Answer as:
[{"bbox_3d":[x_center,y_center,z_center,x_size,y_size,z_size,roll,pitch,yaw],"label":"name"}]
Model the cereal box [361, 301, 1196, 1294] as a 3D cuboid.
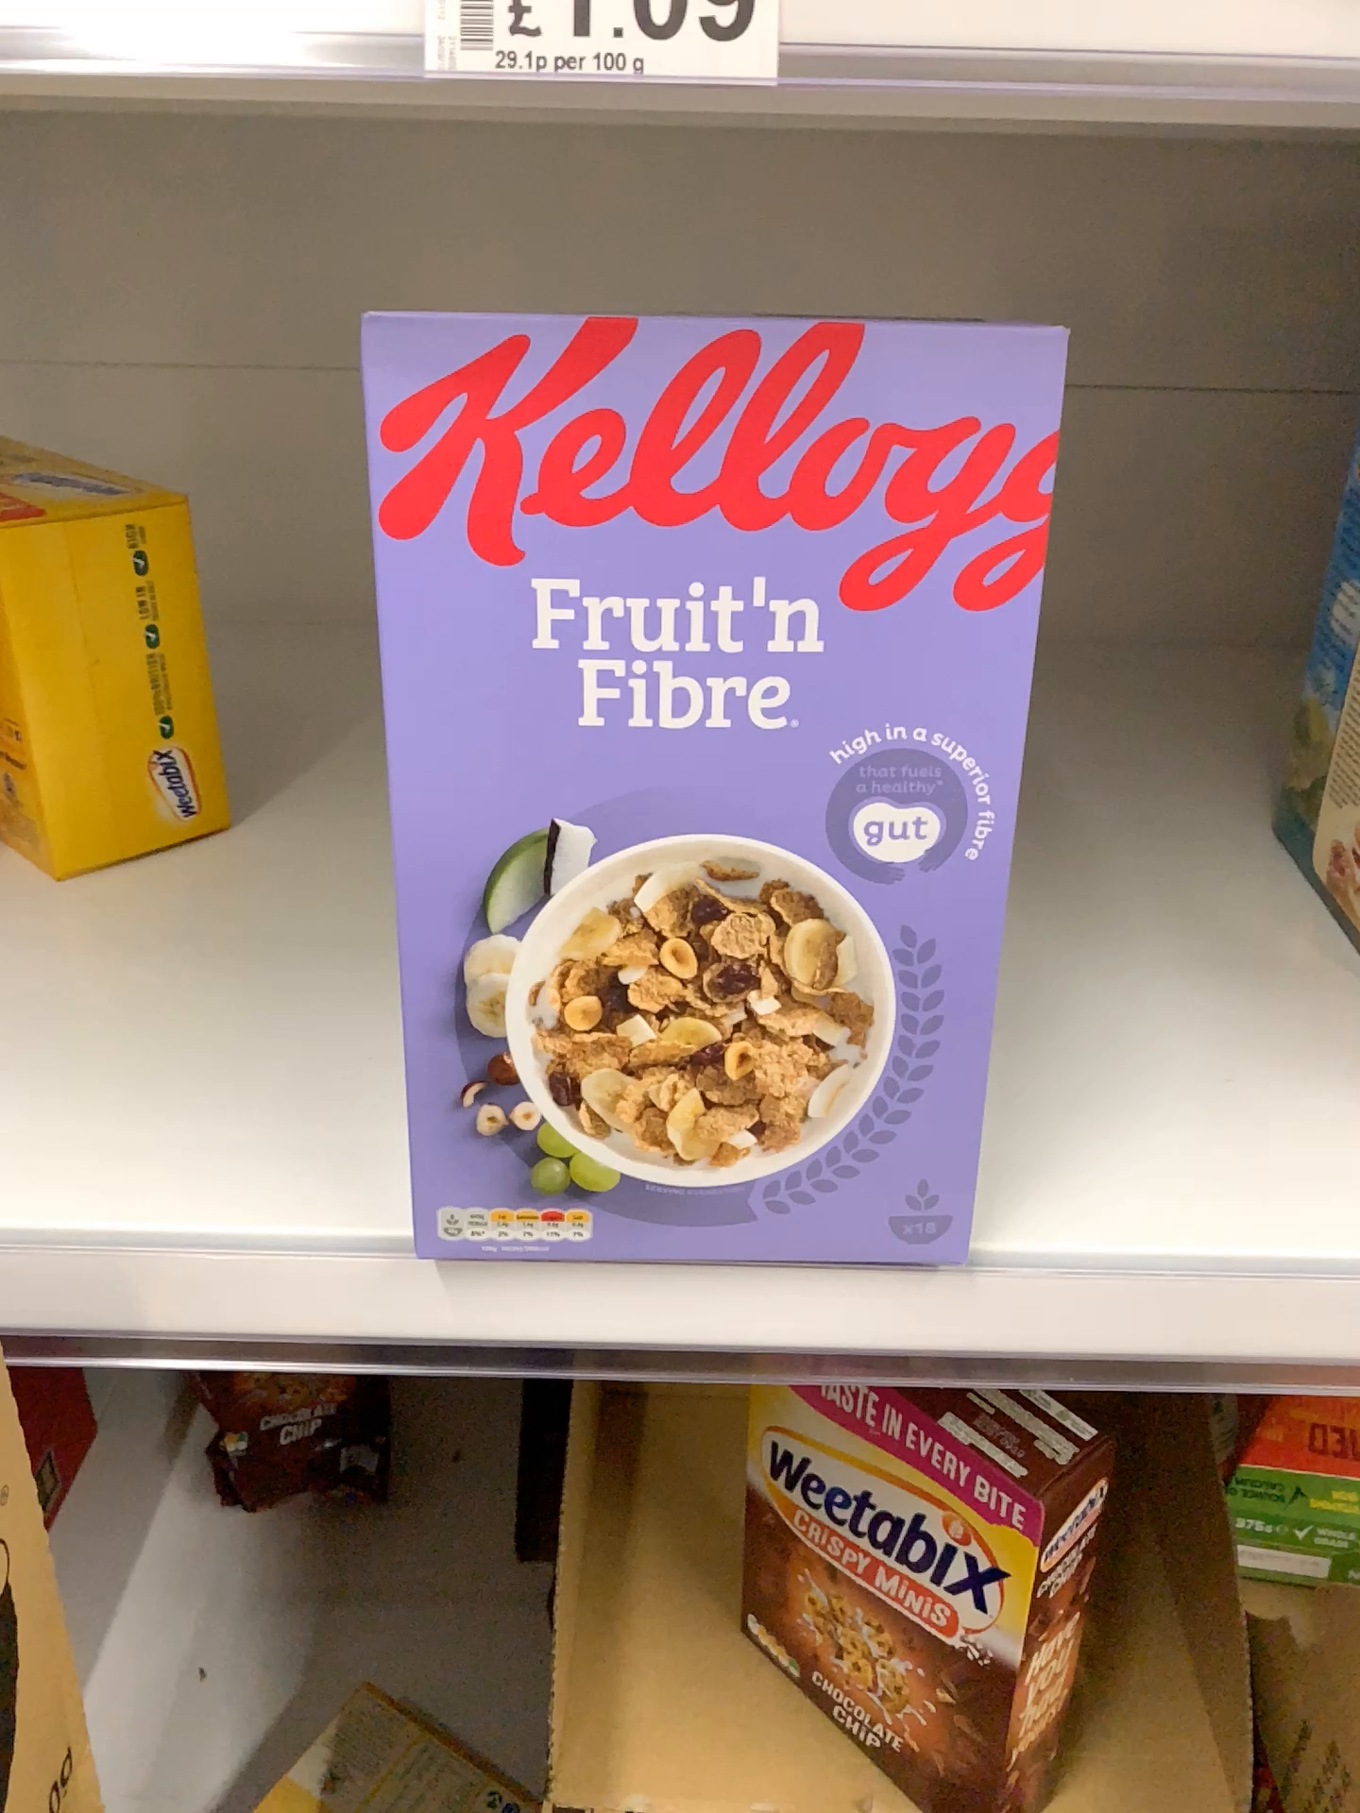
[{"bbox_3d":[0.022,-0.027,0.444,0.210,0.298,0.081,1,22,-1],"label":"cereal box"}]
